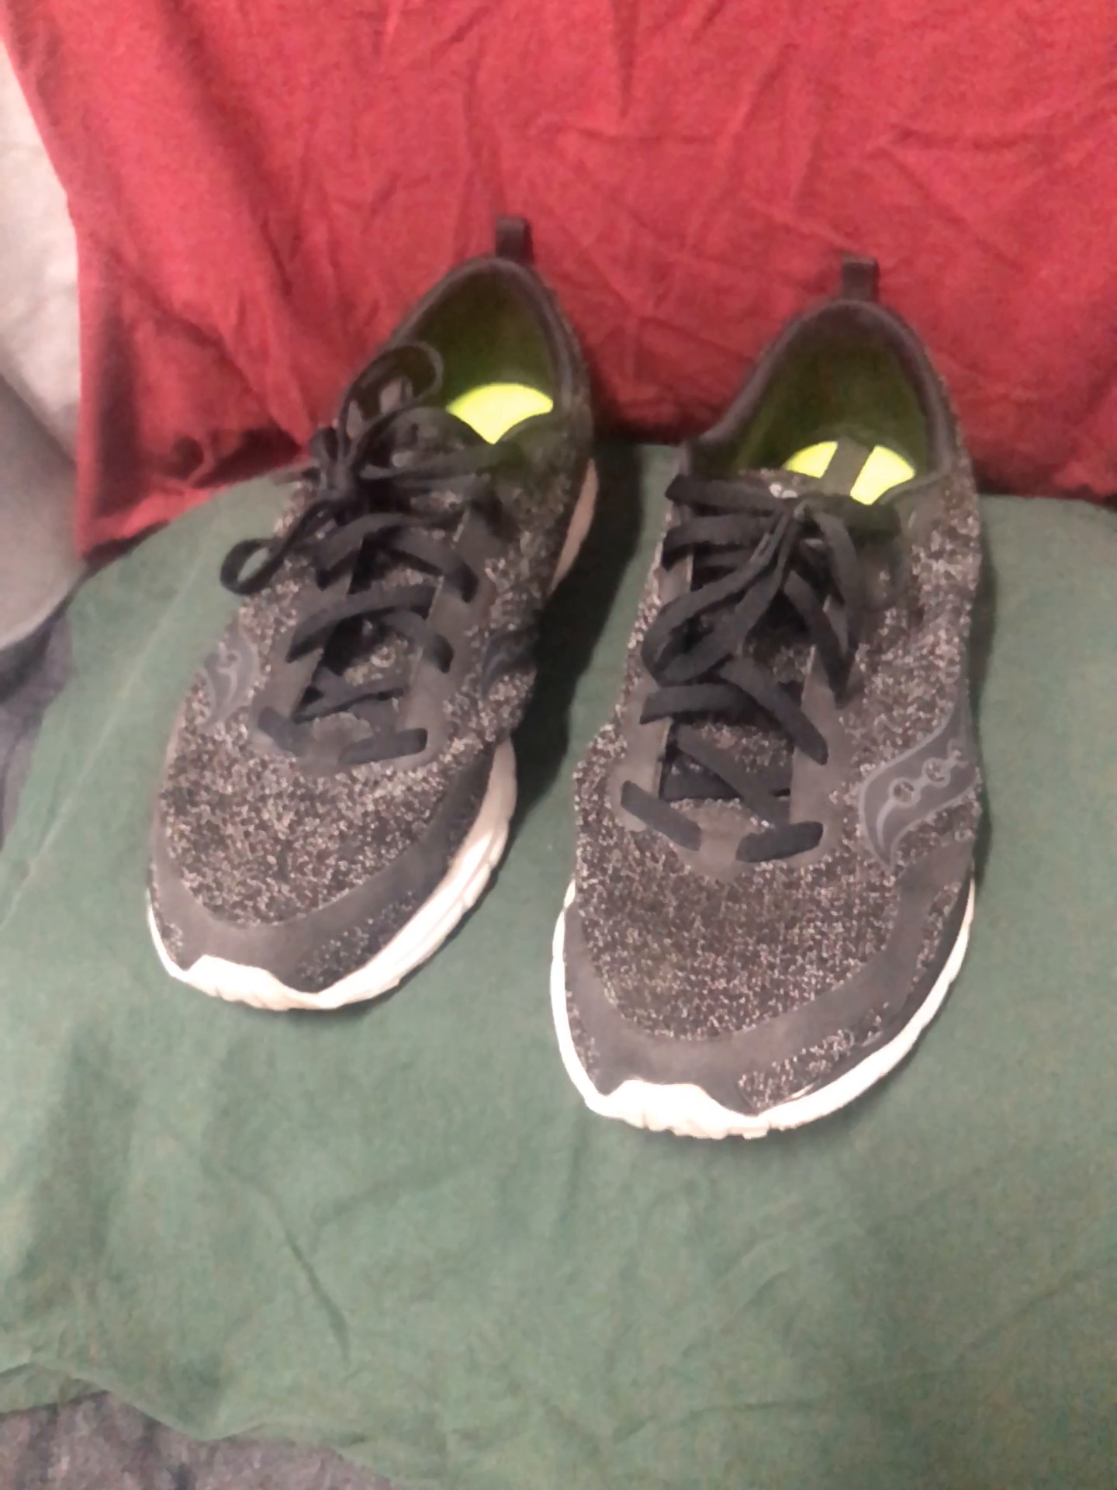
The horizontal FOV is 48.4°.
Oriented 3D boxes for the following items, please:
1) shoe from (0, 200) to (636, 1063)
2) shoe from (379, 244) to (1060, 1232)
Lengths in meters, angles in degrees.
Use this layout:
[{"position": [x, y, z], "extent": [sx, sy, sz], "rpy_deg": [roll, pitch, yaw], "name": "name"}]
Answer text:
[{"position": [-0.067, -0.056, 0.398], "extent": [0.120, 0.099, 0.272], "rpy_deg": [7, 53, 15], "name": "shoe"}, {"position": [0.063, -0.023, 0.352], "extent": [0.120, 0.099, 0.262], "rpy_deg": [8, 53, 16], "name": "shoe"}]
